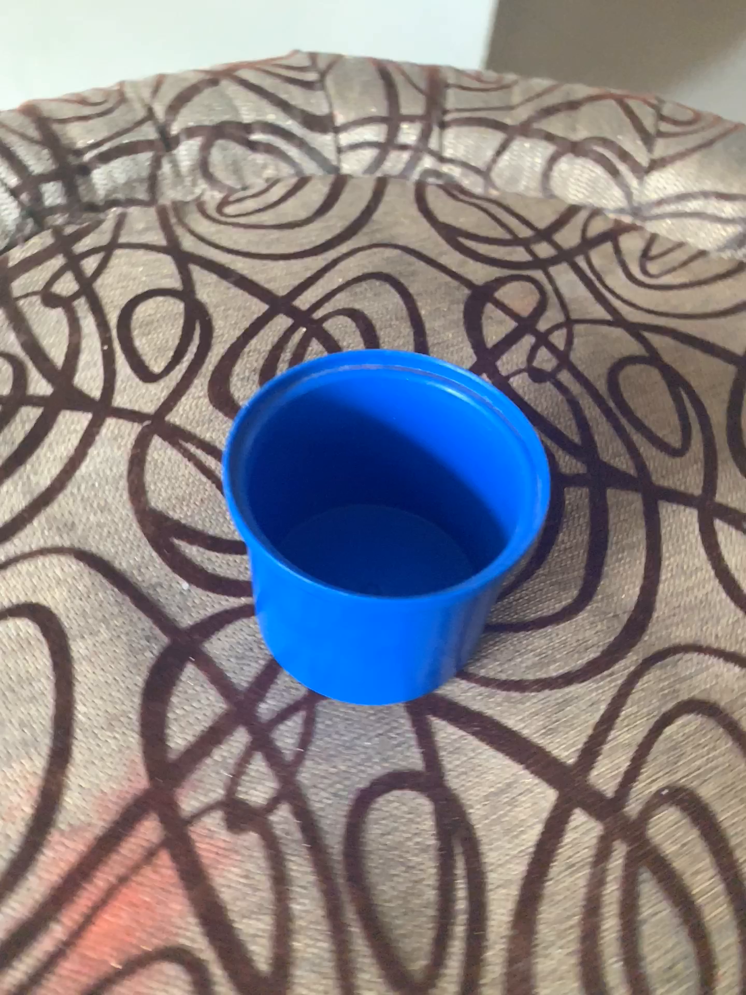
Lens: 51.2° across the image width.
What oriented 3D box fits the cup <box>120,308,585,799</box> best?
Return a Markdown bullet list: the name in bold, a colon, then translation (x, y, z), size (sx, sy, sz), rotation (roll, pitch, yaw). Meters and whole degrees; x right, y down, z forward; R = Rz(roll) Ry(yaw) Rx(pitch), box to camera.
- **cup**: translation (-0.003, 0.013, 0.204), size (0.080, 0.070, 0.081), rotation (3, 52, -4)
